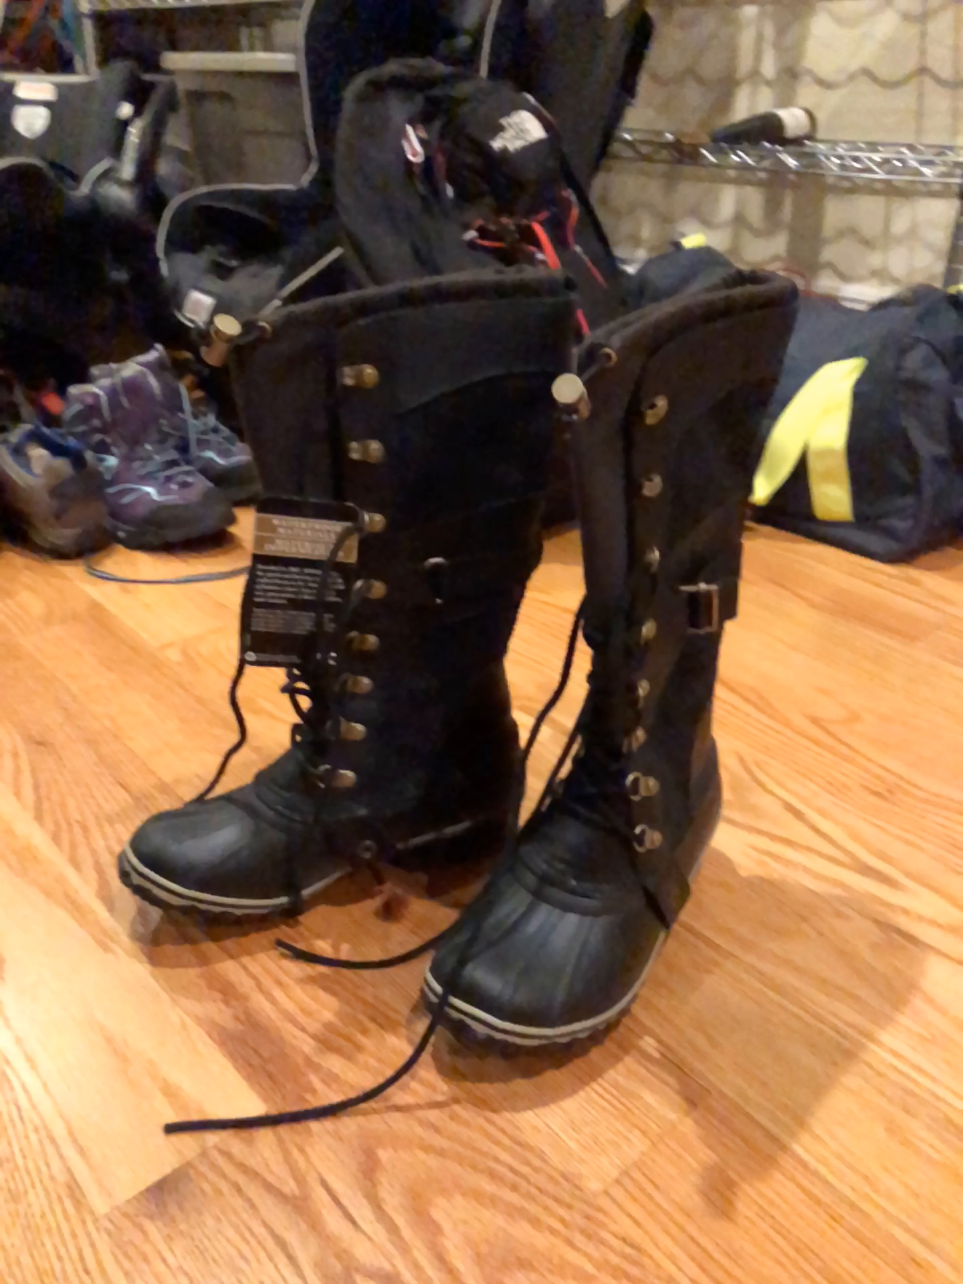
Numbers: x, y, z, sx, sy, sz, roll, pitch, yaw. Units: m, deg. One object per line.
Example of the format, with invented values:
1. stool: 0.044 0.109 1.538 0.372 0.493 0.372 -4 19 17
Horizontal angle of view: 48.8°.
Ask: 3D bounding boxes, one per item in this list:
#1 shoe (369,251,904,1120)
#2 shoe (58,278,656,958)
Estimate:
1. shoe: 0.076 0.003 0.510 0.100 0.328 0.261 20 33 32
2. shoe: -0.059 -0.020 0.567 0.260 0.308 0.100 -11 30 -23
